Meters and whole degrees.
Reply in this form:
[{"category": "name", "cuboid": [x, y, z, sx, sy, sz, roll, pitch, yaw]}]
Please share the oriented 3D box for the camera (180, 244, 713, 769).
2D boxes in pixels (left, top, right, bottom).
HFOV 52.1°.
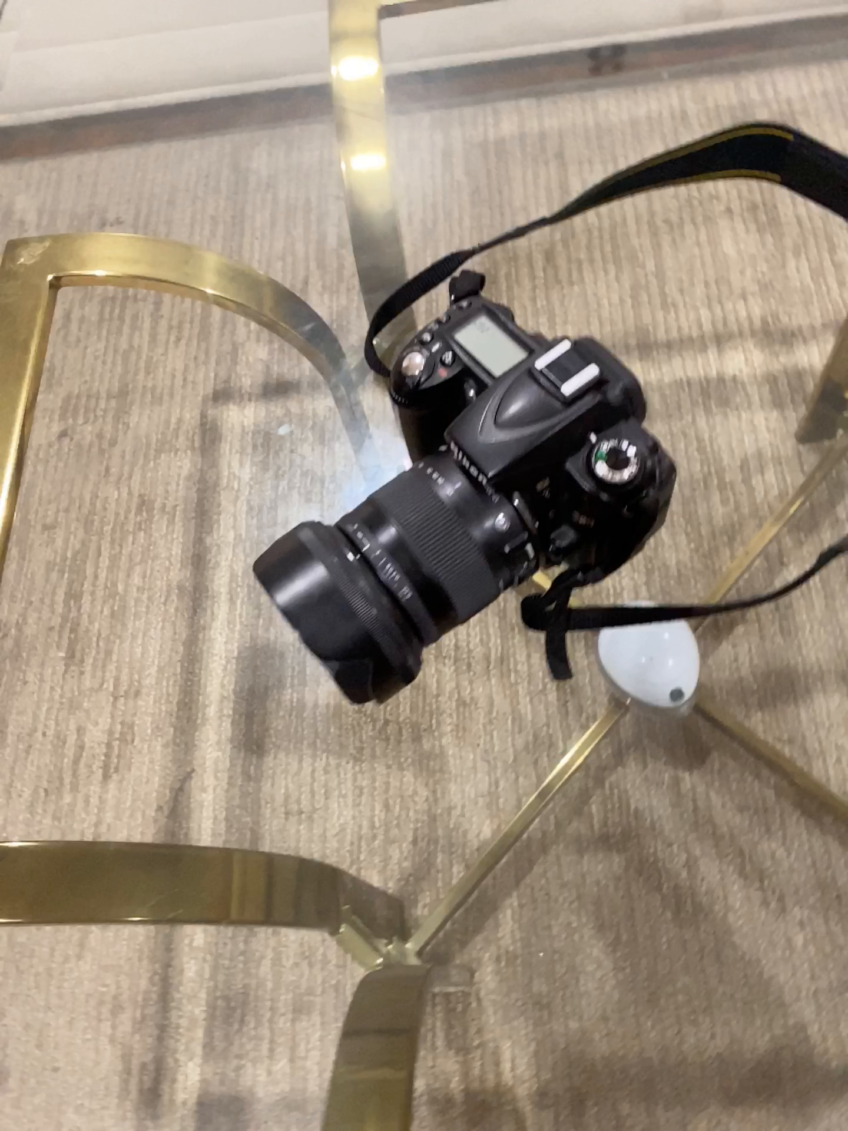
[{"category": "camera", "cuboid": [0.014, -0.025, 0.412, 0.180, 0.120, 0.130, -38, 65, -10]}]
